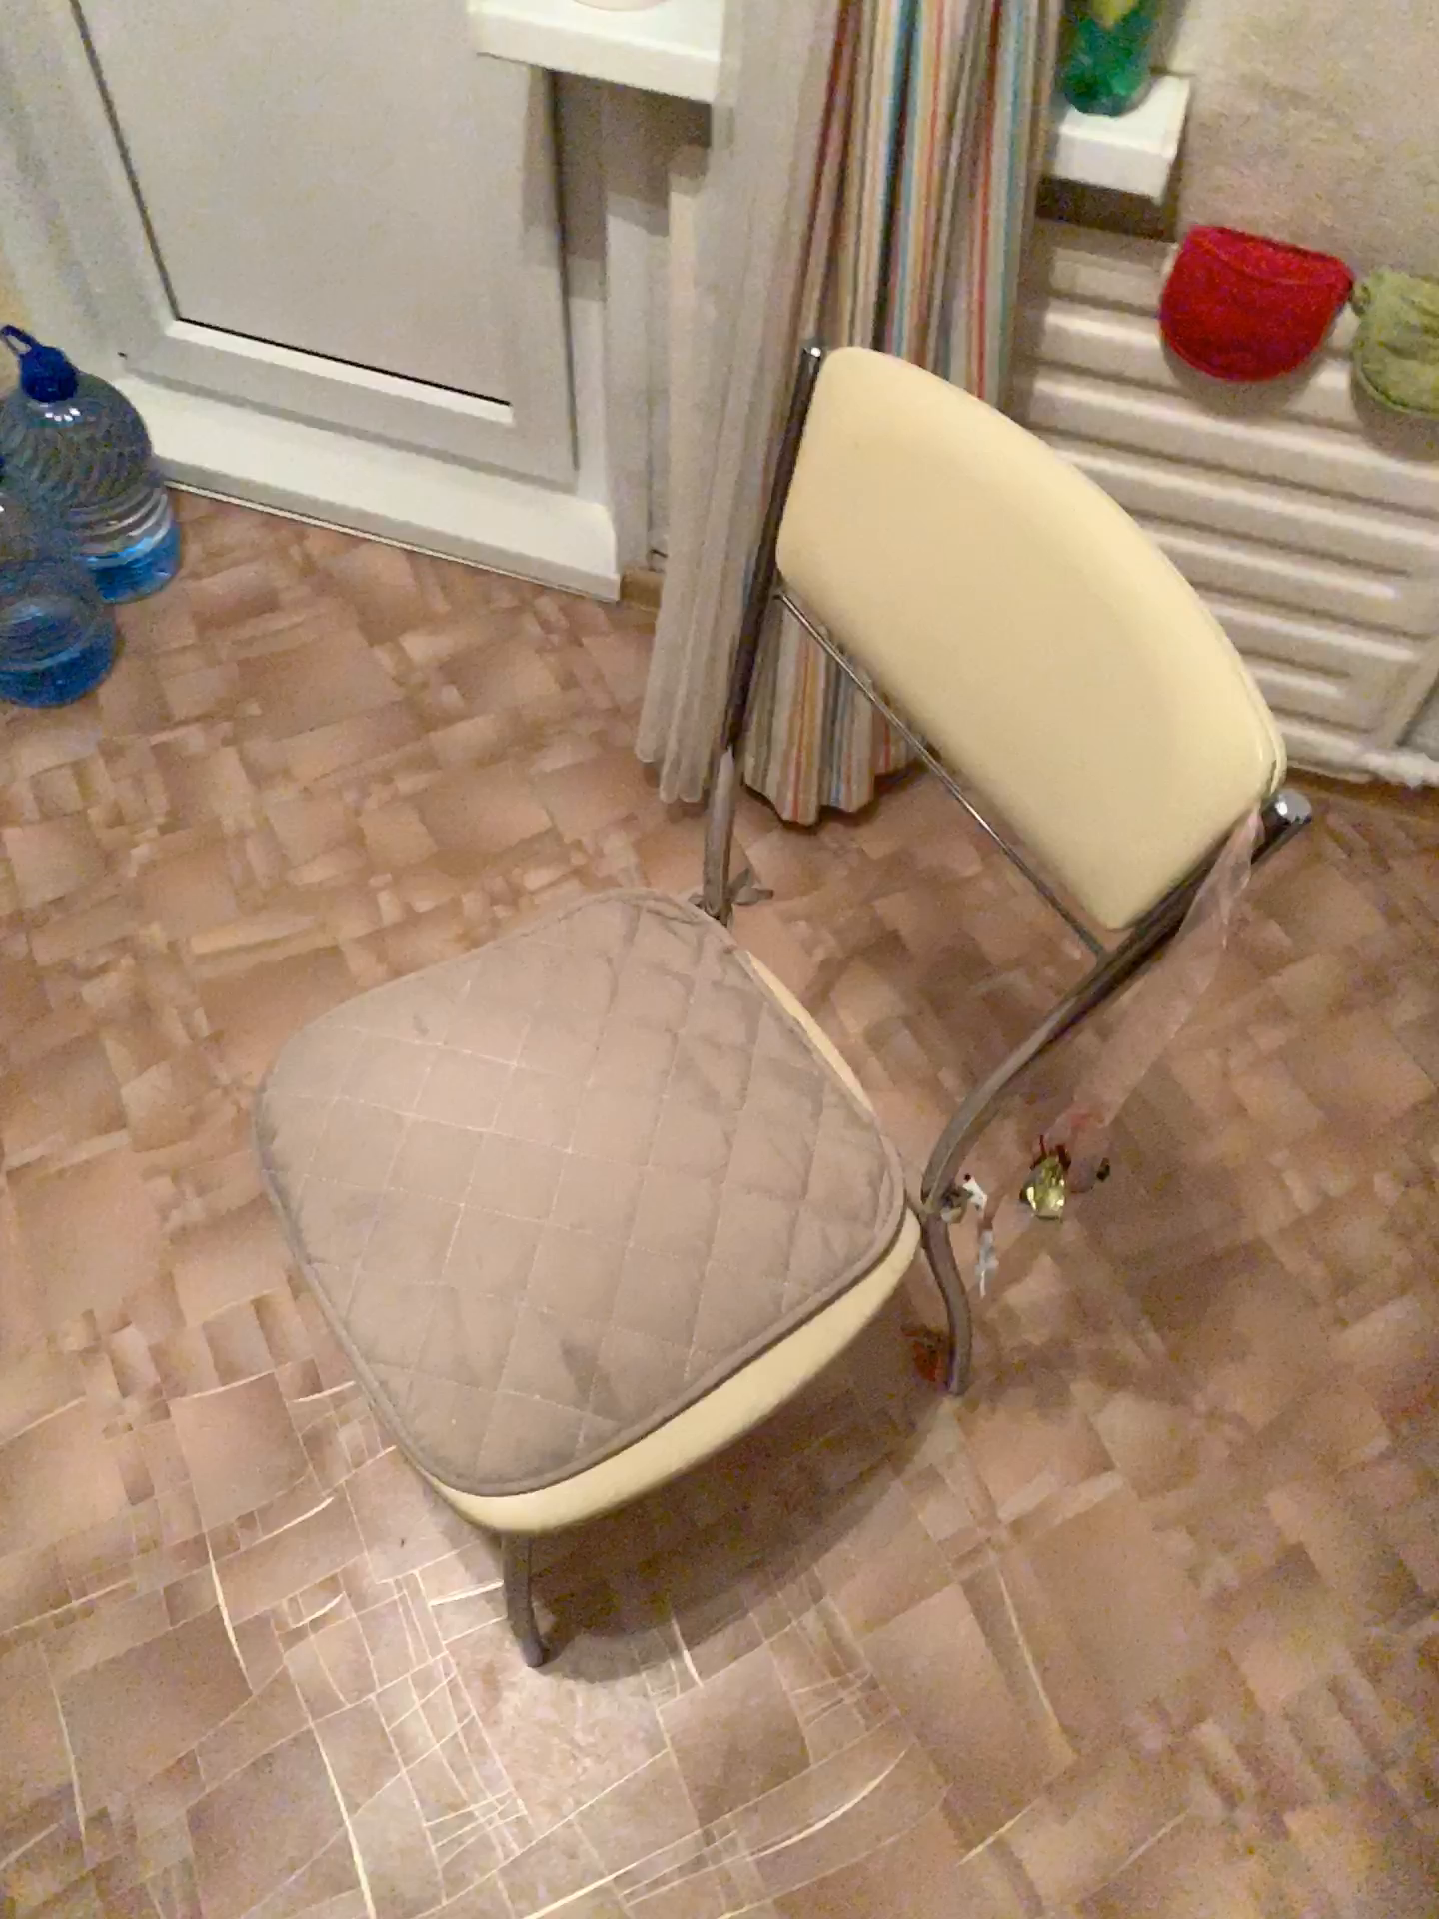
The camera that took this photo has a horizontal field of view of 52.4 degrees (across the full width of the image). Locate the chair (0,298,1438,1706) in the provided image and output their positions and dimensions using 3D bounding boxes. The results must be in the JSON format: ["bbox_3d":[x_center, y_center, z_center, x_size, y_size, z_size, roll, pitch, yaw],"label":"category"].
[{"bbox_3d":[-0.017,0.124,0.972,0.491,0.854,0.386,-27,63,-18],"label":"chair"}]
